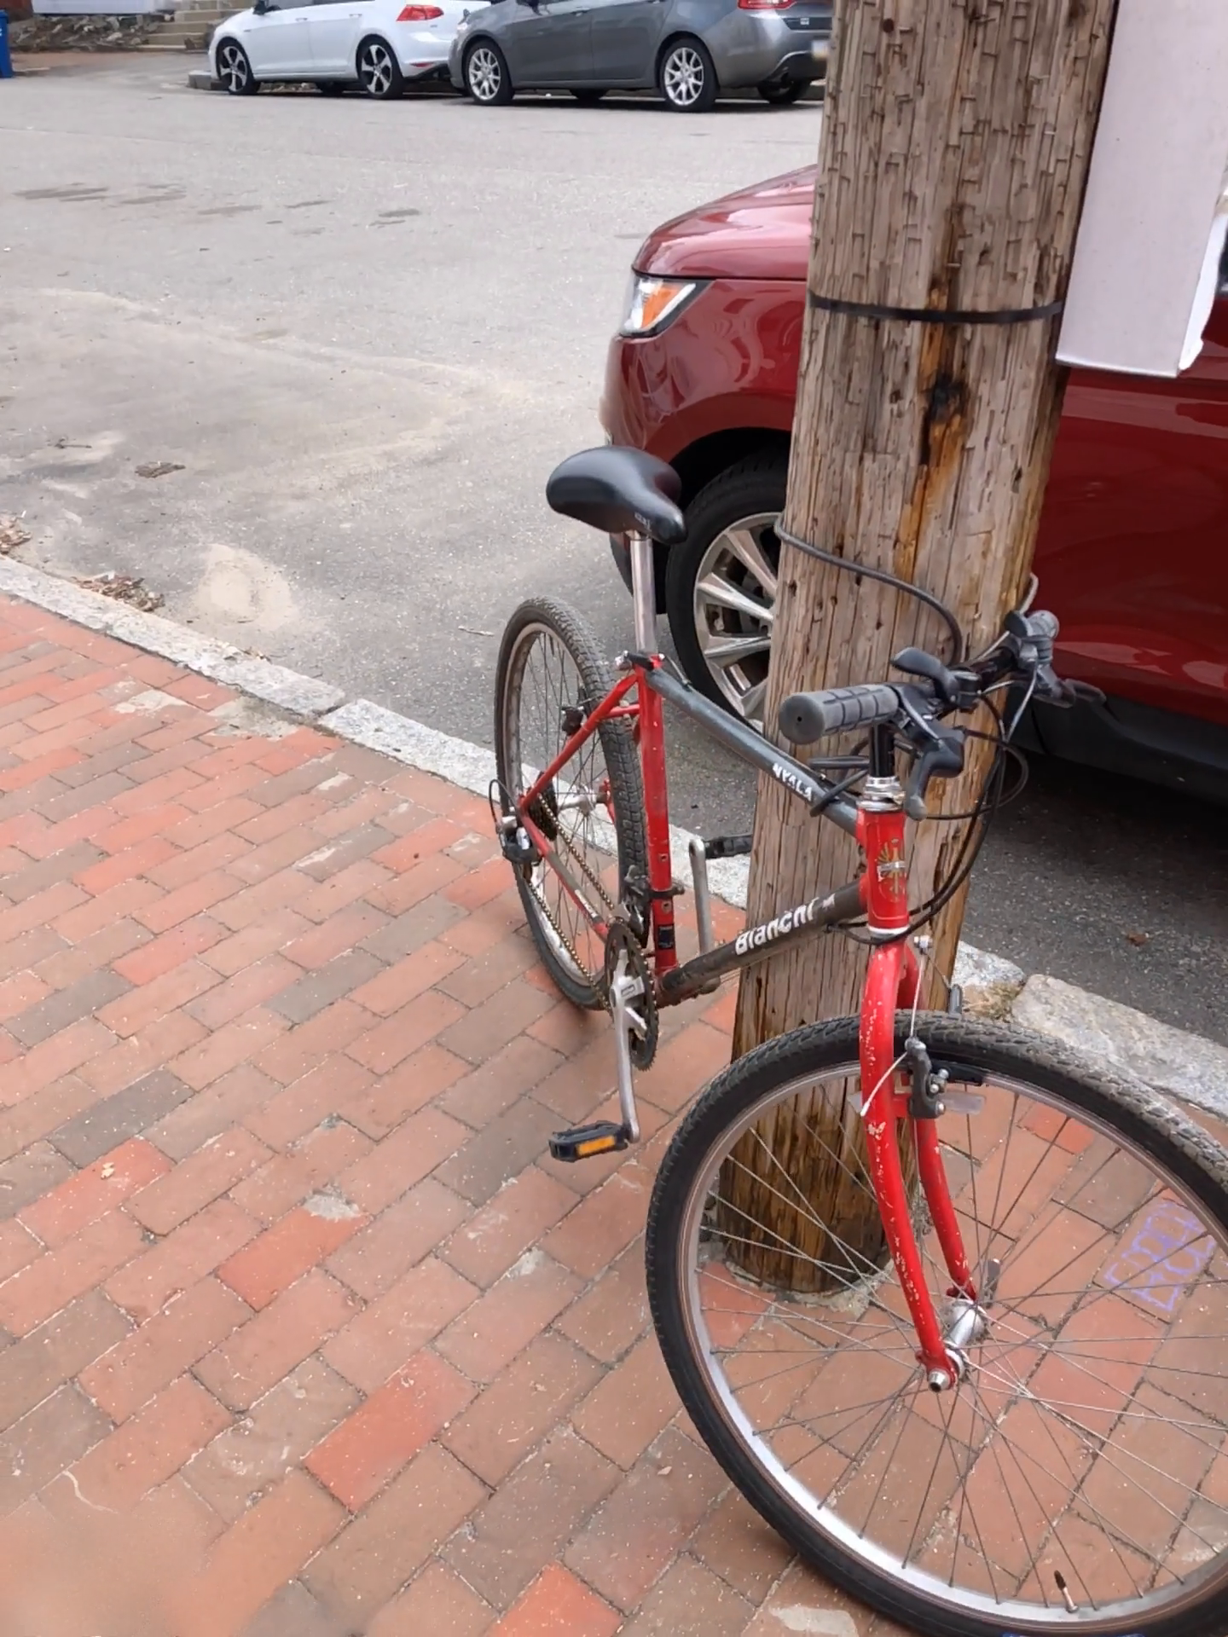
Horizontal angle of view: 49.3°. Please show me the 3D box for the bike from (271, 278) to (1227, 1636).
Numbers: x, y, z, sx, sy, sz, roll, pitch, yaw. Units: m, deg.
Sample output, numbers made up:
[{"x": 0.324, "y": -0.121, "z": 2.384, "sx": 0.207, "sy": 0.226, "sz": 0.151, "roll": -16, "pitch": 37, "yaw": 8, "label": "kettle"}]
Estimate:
[{"x": 0.181, "y": -0.008, "z": 1.558, "sx": 0.581, "sy": 0.983, "sz": 1.533, "roll": -16, "pitch": 33, "yaw": -23, "label": "bike"}]
